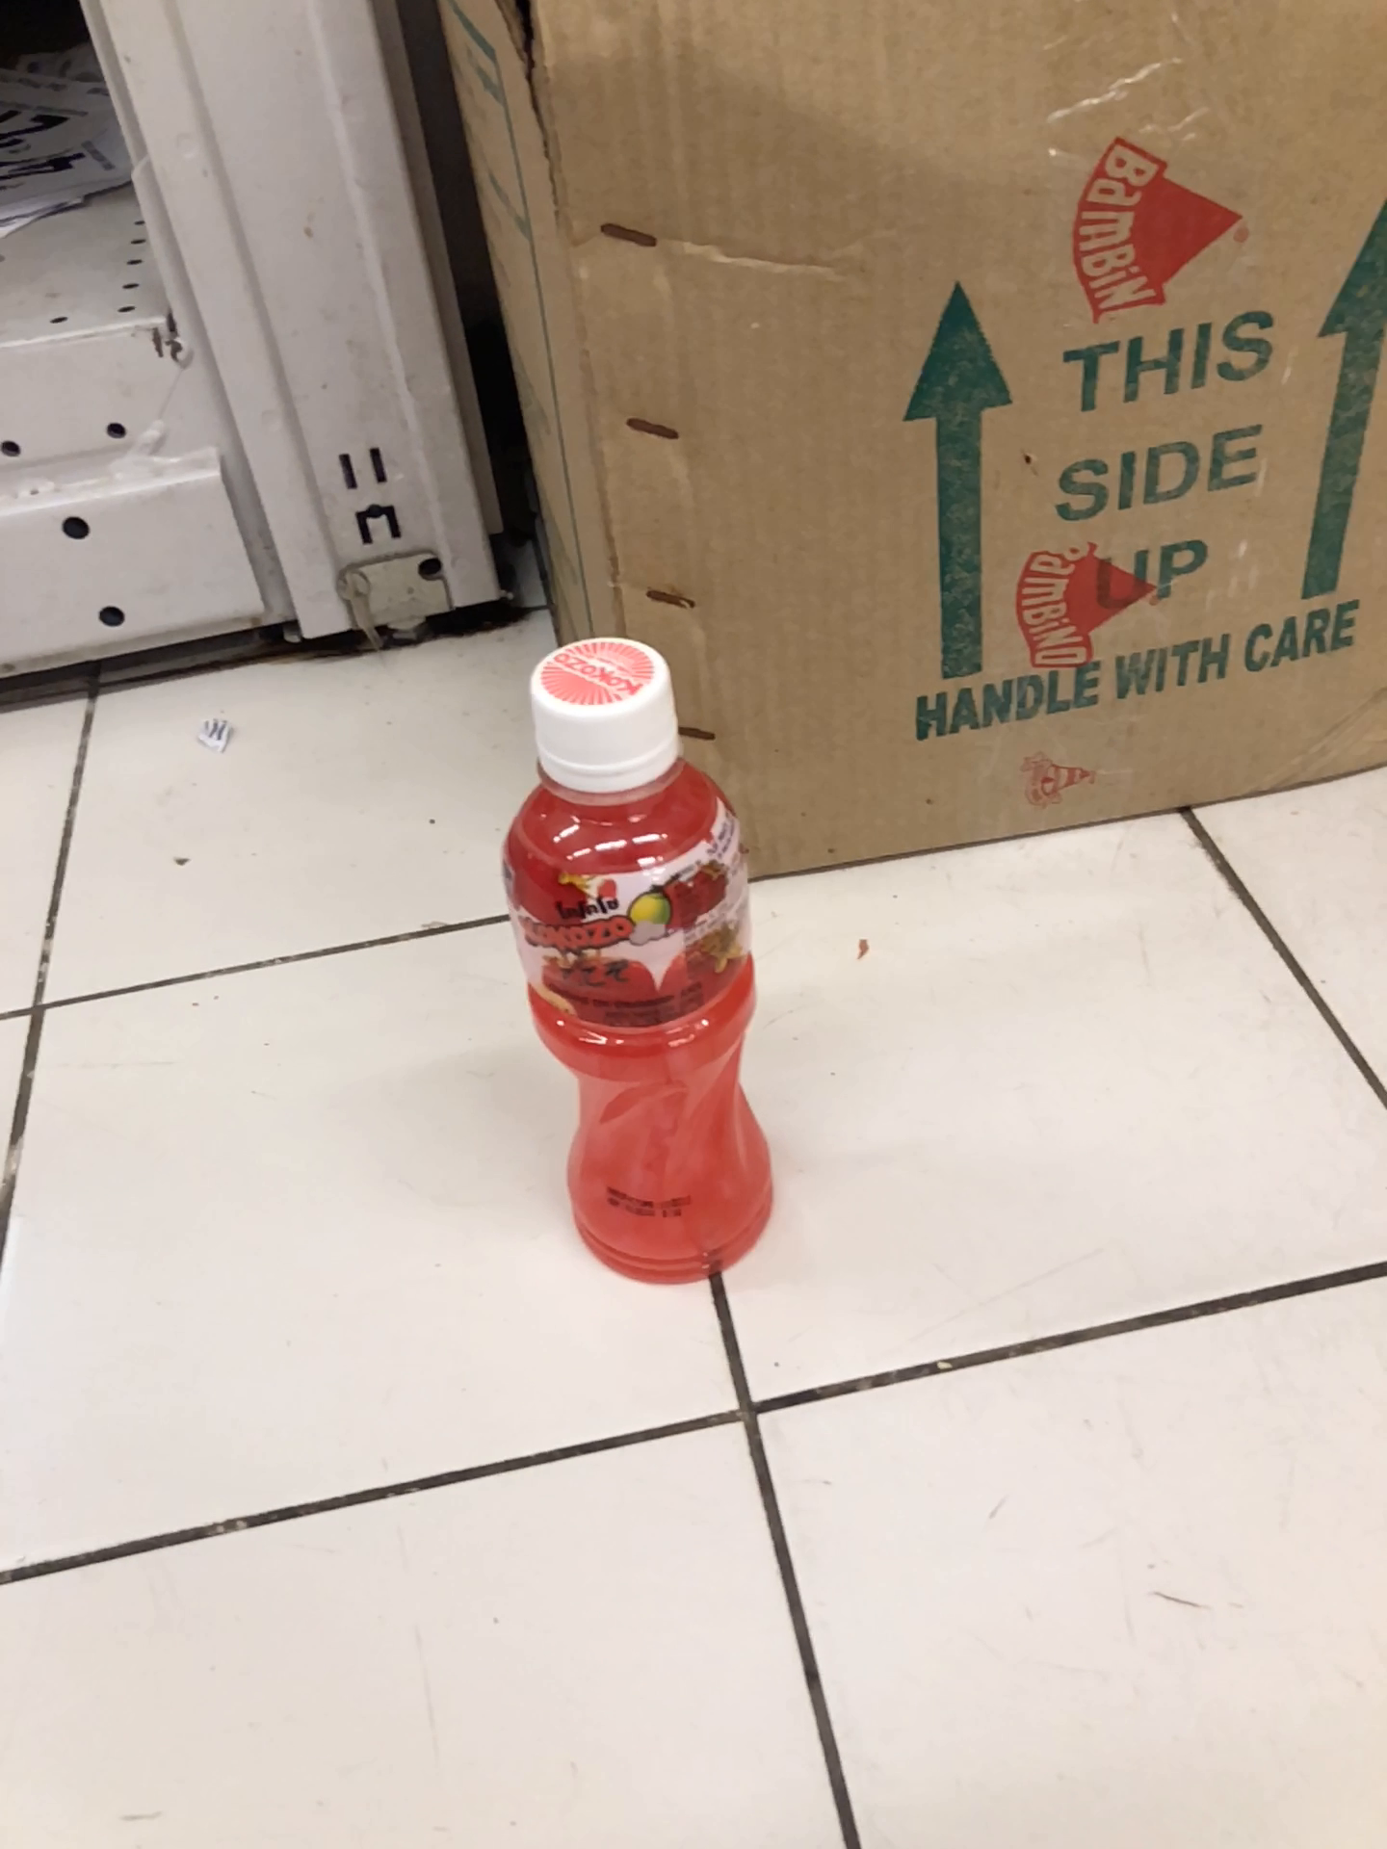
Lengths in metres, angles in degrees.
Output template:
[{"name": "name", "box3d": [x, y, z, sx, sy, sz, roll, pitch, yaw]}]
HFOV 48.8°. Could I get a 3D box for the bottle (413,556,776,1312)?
[{"name": "bottle", "box3d": [-0.019, 0.012, 0.378, 0.060, 0.189, 0.060, -4, 42, 3]}]
